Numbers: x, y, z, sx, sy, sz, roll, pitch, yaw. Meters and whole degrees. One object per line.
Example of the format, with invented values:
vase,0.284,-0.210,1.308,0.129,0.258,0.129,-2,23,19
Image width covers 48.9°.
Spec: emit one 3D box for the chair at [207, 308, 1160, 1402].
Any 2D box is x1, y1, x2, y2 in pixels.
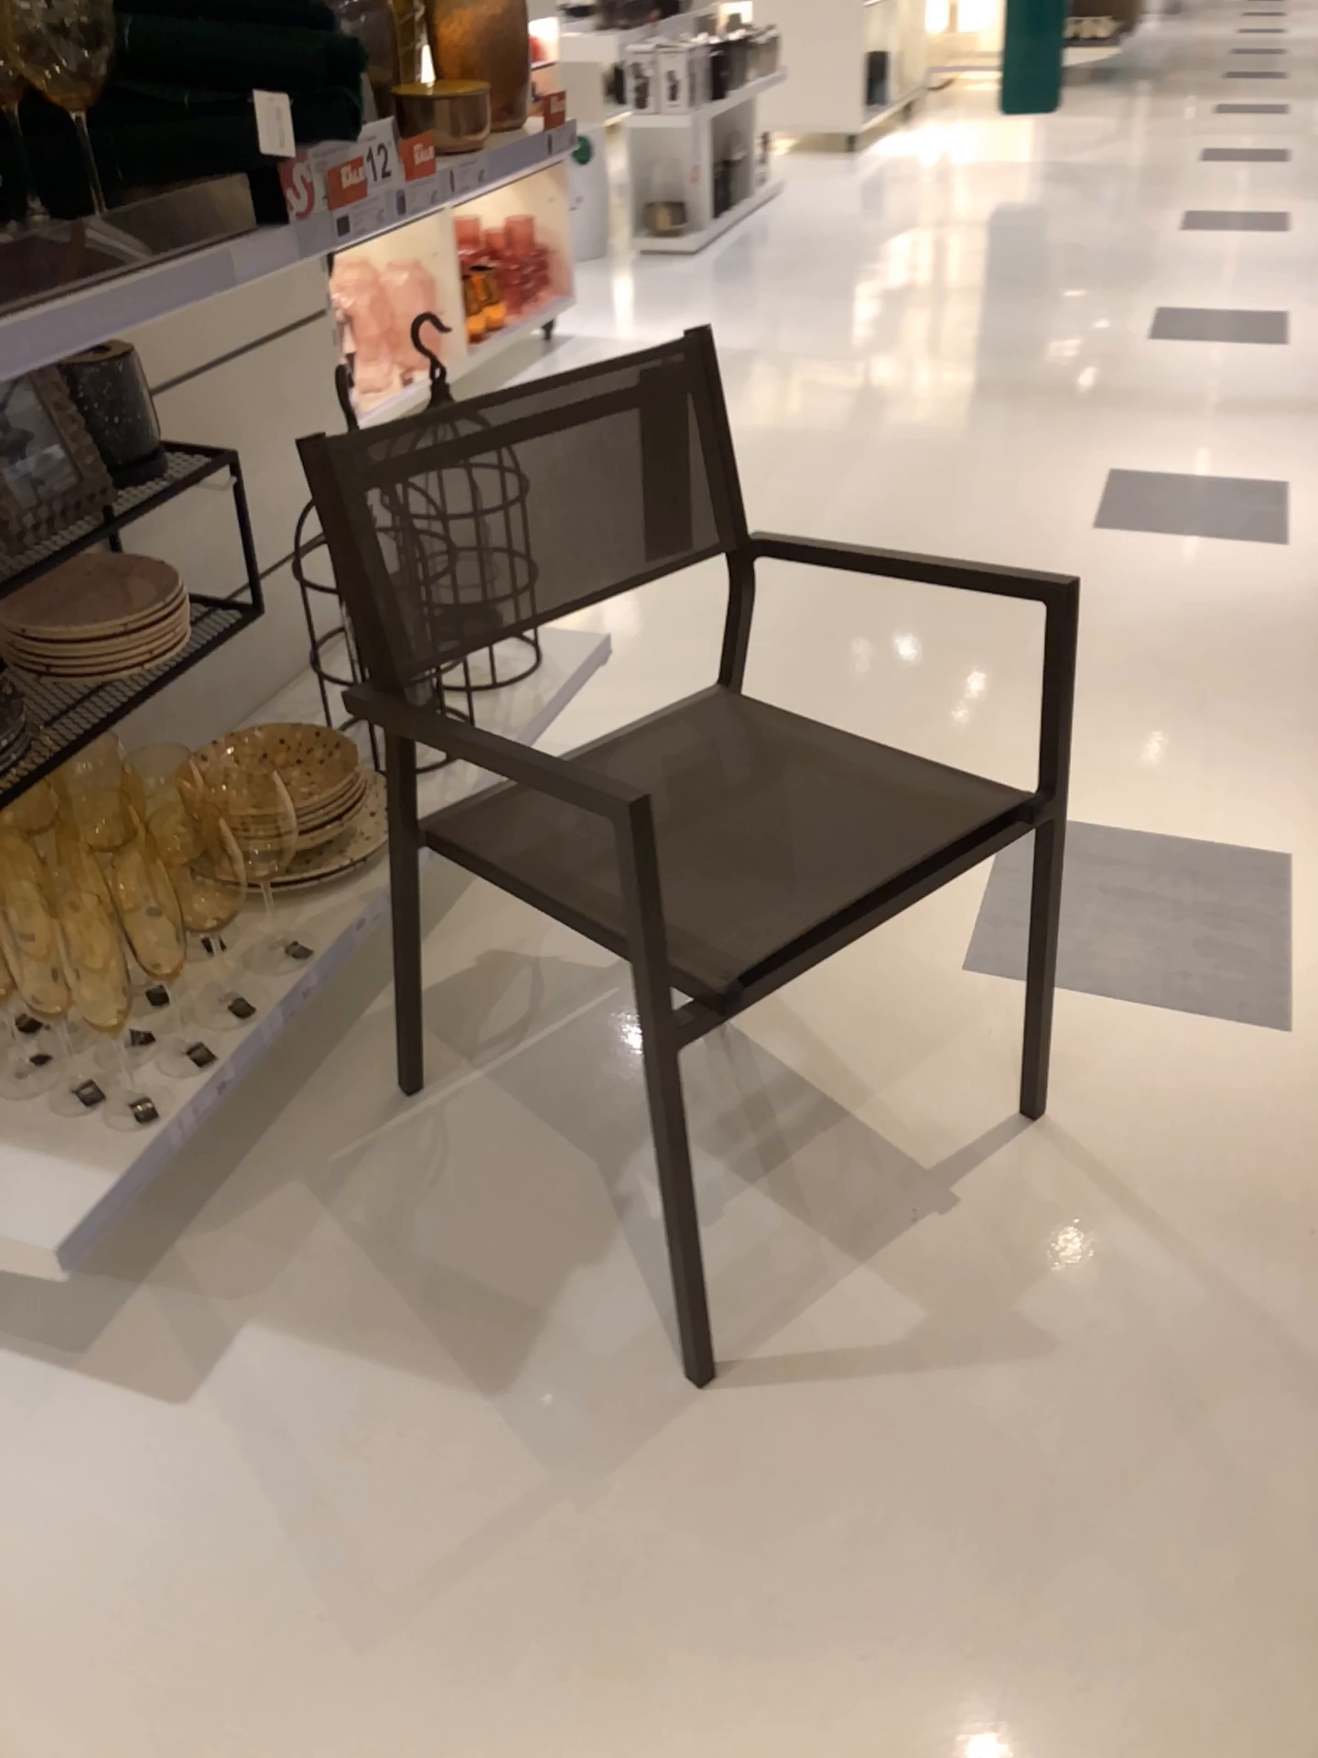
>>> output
chair,0.027,-0.072,1.447,0.572,0.764,0.582,-28,41,-32
